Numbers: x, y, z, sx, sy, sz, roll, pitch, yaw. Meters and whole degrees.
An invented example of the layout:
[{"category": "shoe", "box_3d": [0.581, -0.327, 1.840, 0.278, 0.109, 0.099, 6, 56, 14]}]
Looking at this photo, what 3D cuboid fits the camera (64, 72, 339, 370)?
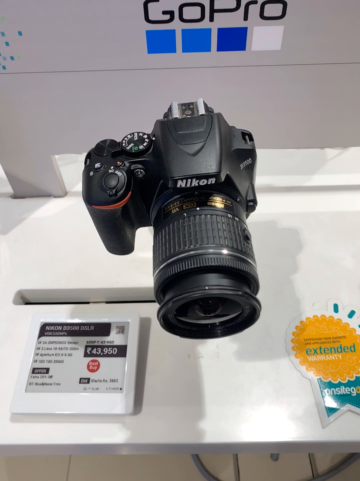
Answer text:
[{"category": "camera", "box_3d": [0.004, -0.023, 0.253, 0.120, 0.090, 0.181, -5, 50, -2]}]
